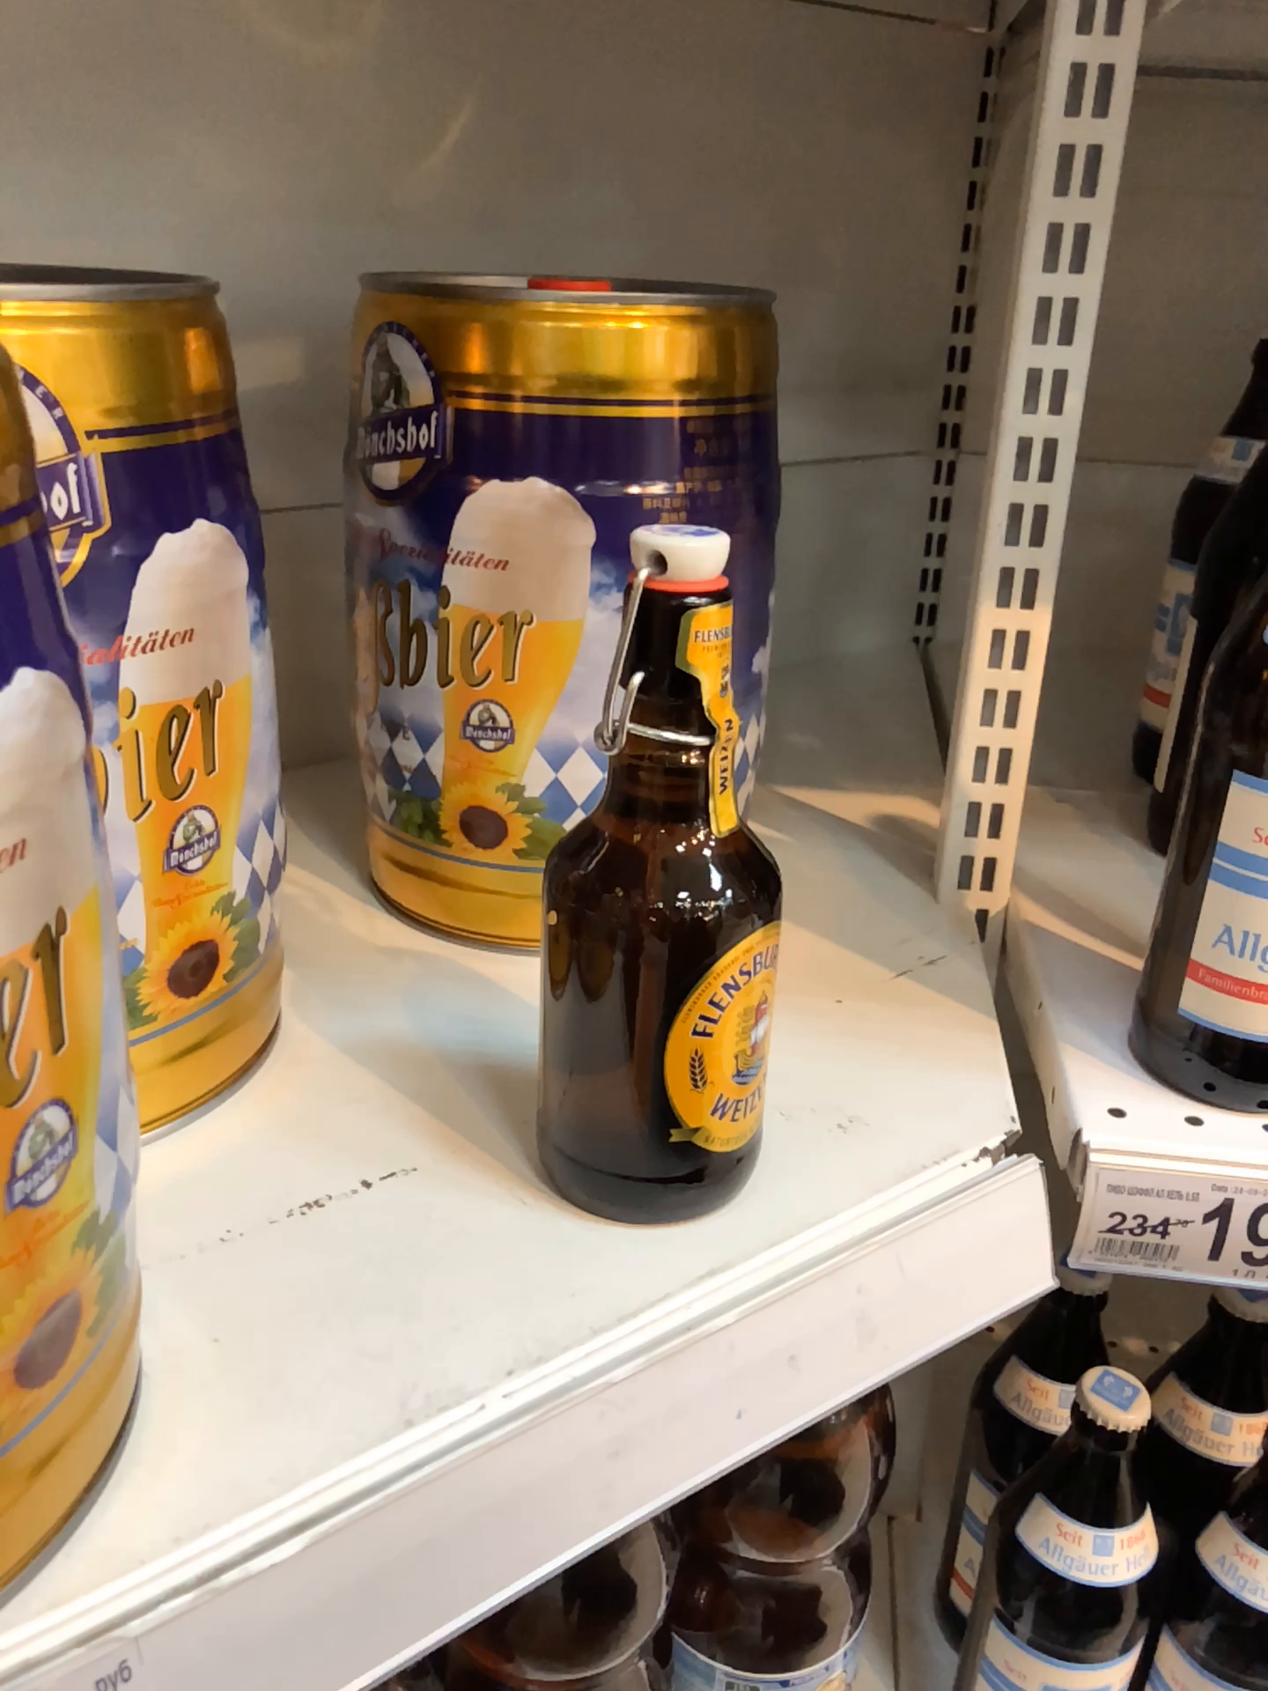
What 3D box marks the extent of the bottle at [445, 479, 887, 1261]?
[{"bbox_3d":[0.005,0.003,0.394,0.080,0.189,0.080,2,23,-1],"label":"bottle"}]
